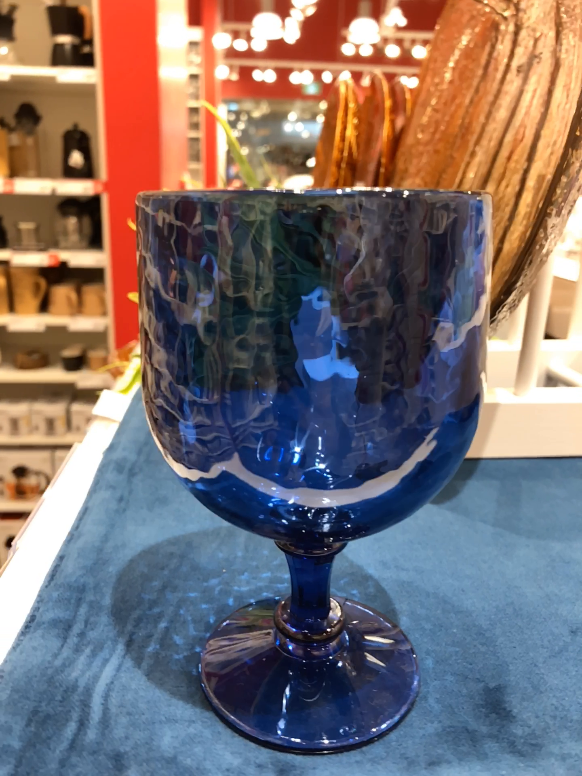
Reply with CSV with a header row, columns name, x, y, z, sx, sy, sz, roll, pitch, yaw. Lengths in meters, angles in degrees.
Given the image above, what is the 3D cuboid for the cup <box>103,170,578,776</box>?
name,x,y,z,sx,sy,sz,roll,pitch,yaw
cup,0.004,0.016,0.178,0.090,0.140,0.080,-5,17,-19
